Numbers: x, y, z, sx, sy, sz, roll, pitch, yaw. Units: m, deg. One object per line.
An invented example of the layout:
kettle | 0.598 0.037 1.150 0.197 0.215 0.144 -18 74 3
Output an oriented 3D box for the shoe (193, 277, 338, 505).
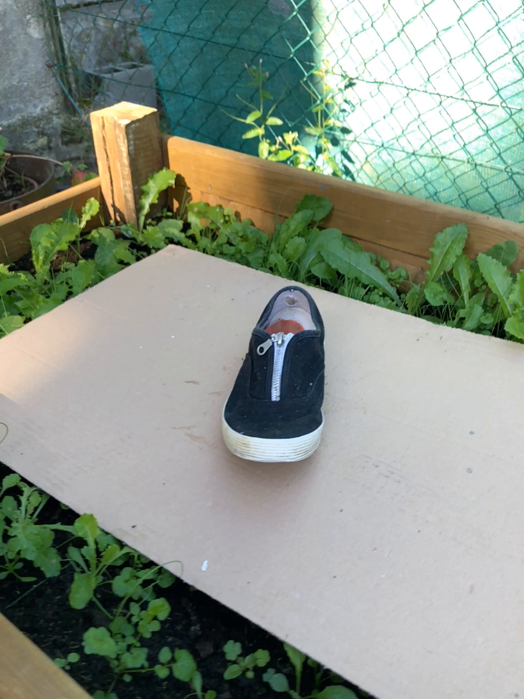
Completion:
shoe | 0.015 0.025 0.567 0.100 0.070 0.242 5 39 8
